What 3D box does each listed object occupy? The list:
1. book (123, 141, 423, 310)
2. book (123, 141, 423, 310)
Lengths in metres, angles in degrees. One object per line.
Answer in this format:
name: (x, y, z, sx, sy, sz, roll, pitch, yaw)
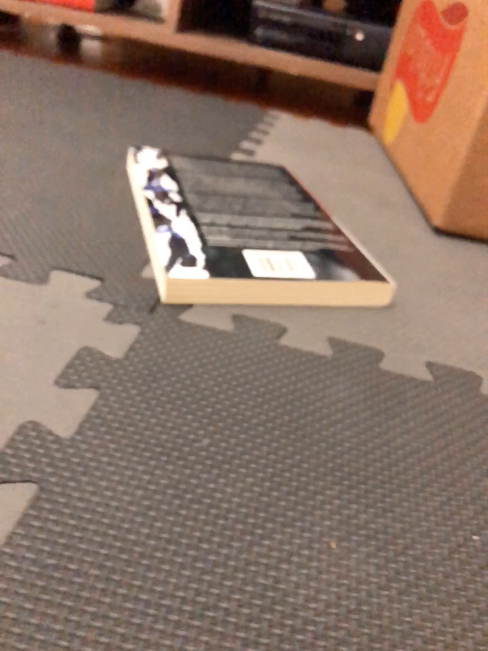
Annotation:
book: (0.000, -0.081, 0.392, 0.150, 0.020, 0.231, 0, 33, -18)
book: (0.000, -0.081, 0.392, 0.150, 0.020, 0.231, 0, 33, -18)
